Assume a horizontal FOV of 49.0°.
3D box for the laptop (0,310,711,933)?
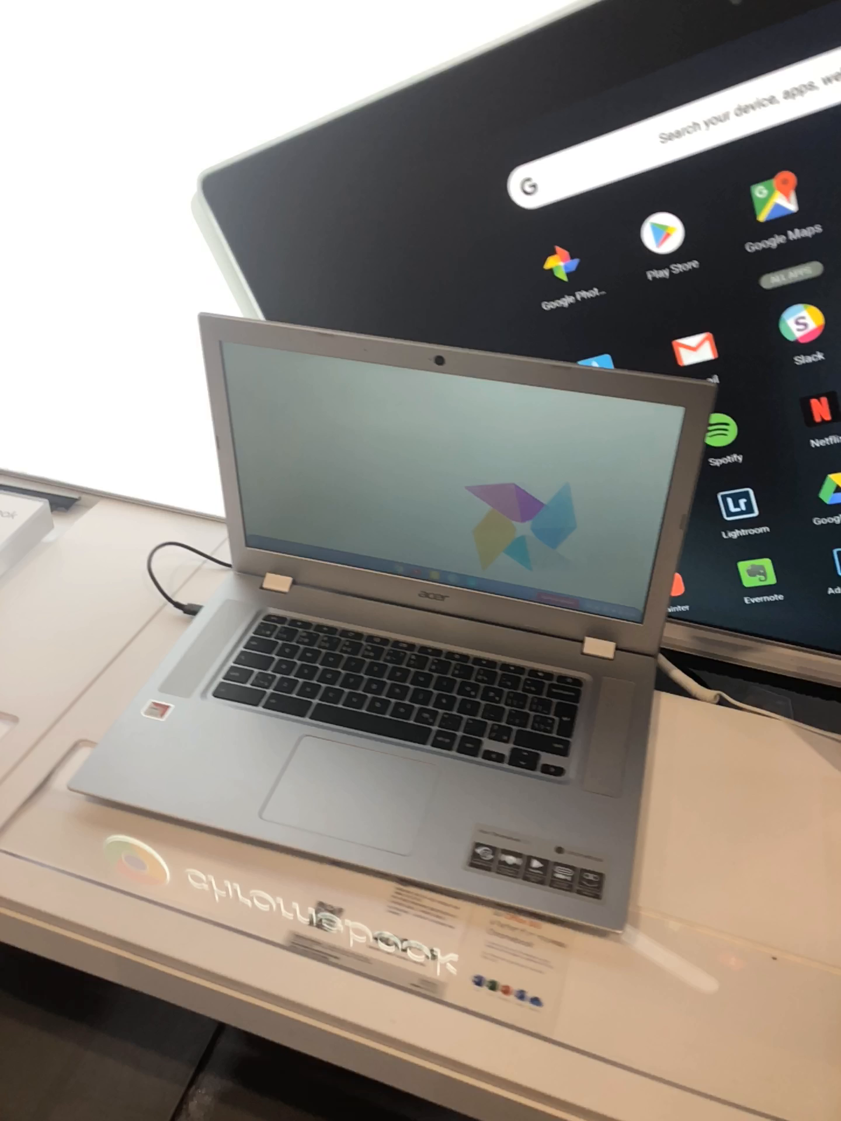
[{"bbox_3d":[-0.024,0.017,0.625,0.377,0.249,0.265,10,36,13],"label":"laptop"}]
